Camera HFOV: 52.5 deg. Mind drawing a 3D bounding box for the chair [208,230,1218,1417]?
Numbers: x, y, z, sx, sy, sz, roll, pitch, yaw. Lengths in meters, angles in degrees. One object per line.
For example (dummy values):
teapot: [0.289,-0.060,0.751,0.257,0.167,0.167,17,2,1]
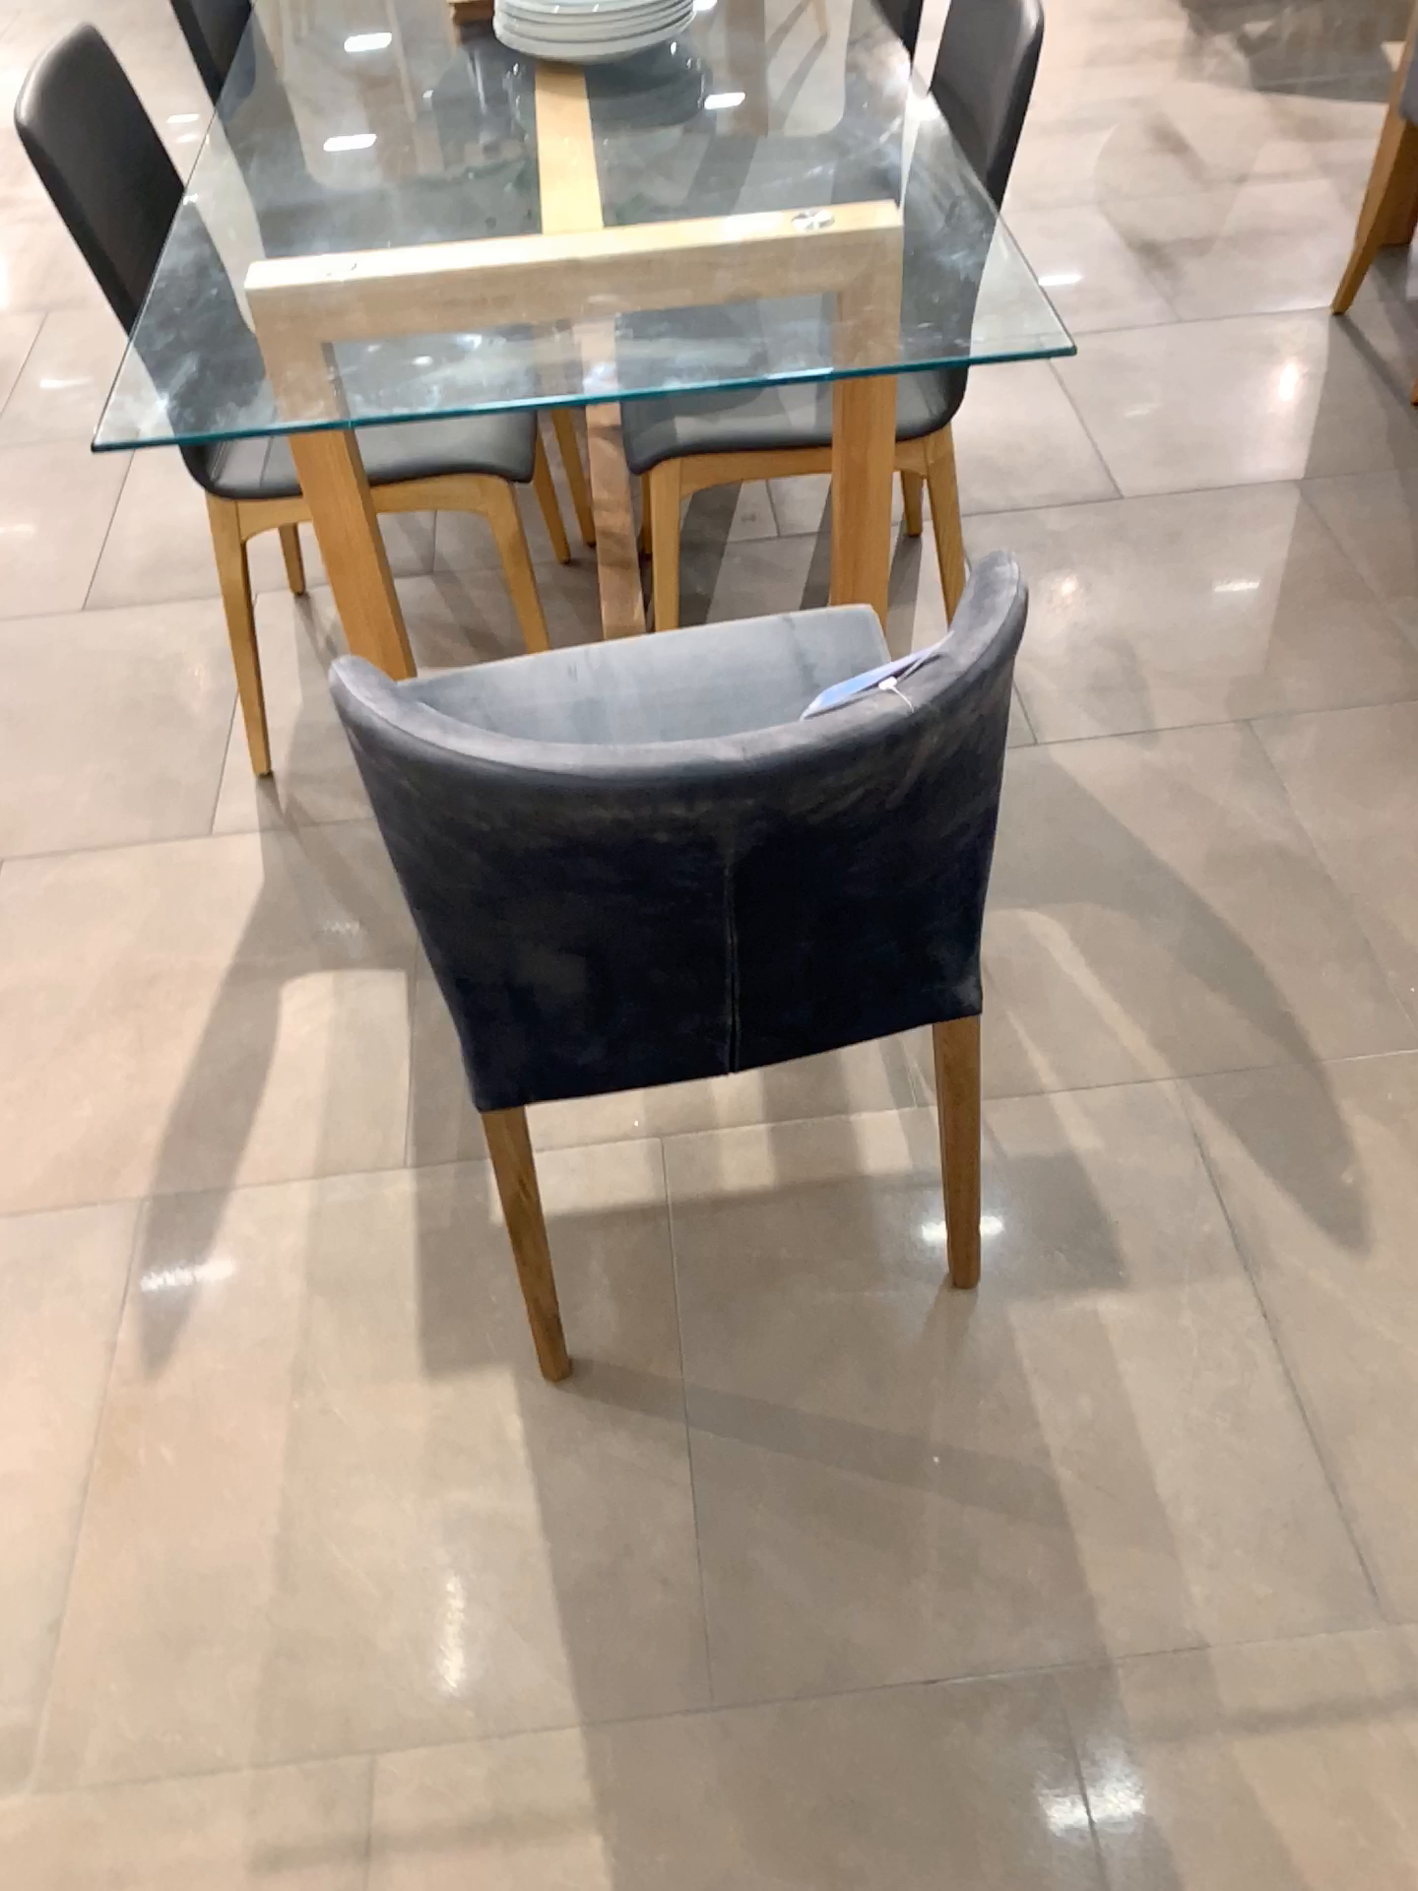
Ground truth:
chair: [-0.012,-0.081,1.317,0.577,0.805,0.619,-8,48,-3]
